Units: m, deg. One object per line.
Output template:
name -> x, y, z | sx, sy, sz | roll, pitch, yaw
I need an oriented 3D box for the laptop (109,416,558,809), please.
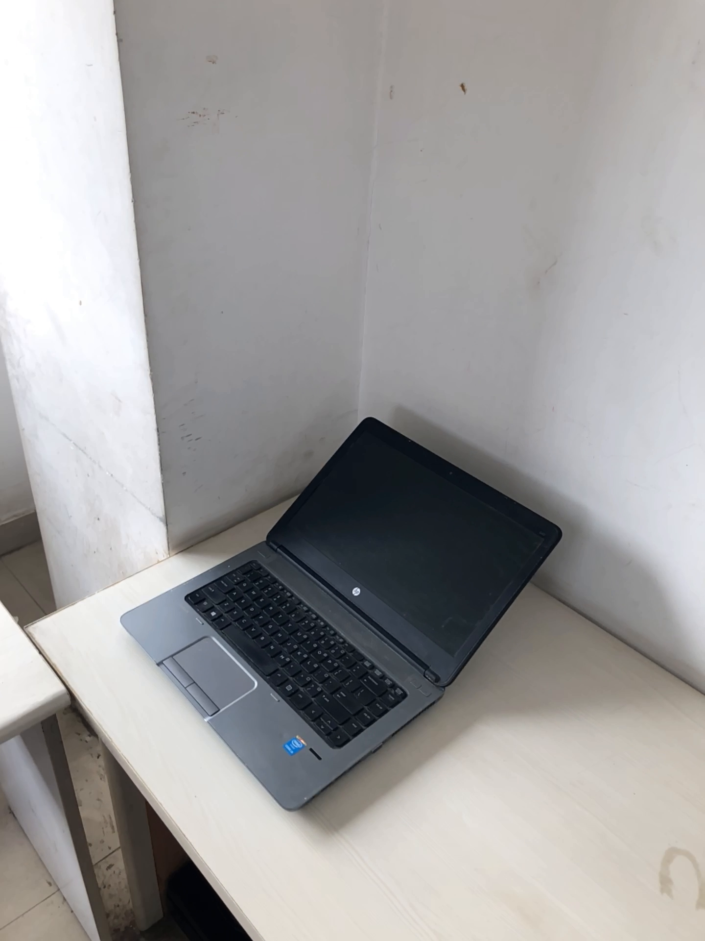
laptop -> -0.019, 0.128, 0.940 | 0.407, 0.137, 0.328 | -26, 46, -35
